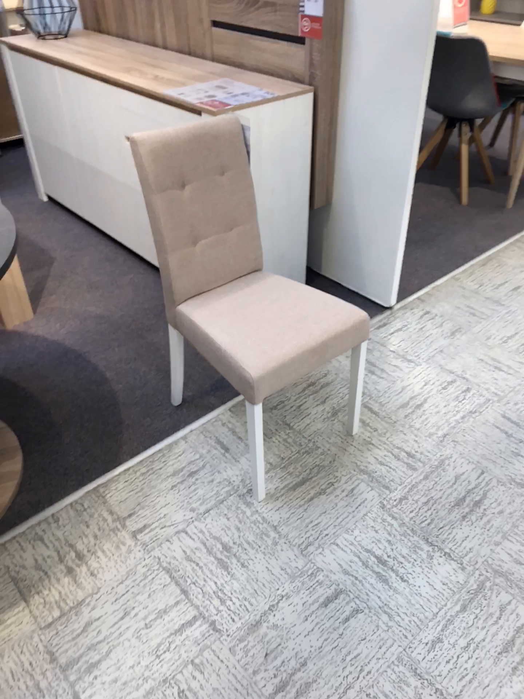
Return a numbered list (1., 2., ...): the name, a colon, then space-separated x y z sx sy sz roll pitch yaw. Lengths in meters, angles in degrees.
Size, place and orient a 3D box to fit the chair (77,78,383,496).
1. chair: -0.076 -0.172 1.499 0.432 0.855 0.531 -28 44 -31
